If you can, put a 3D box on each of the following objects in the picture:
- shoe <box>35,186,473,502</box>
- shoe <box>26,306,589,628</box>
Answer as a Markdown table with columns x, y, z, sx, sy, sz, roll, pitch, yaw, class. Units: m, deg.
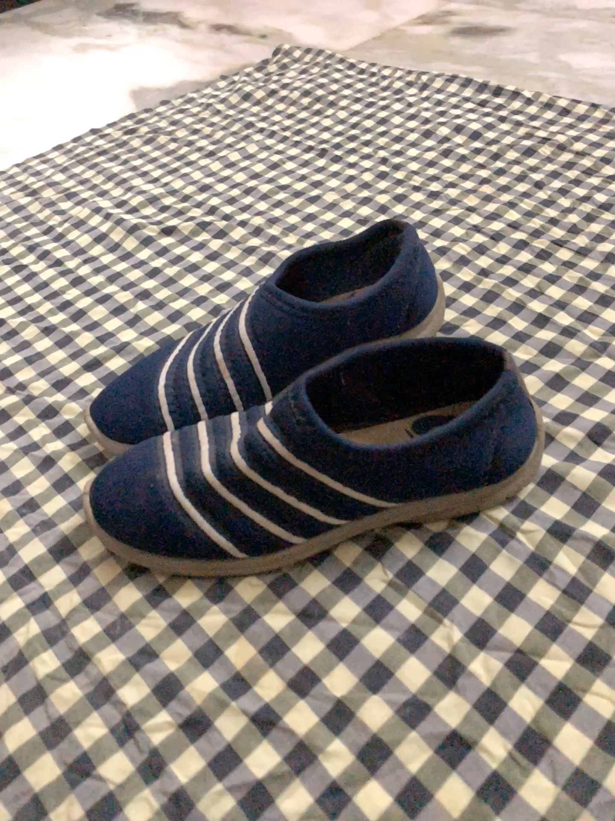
| x | y | z | sx | sy | sz | roll | pitch | yaw | class |
| --- | --- | --- | --- | --- | --- | --- | --- | --- | --- |
| -0.028 | -0.050 | 0.411 | 0.250 | 0.089 | 0.091 | -22 | 47 | -14 | shoe |
| 0.000 | 0.031 | 0.343 | 0.250 | 0.099 | 0.091 | -10 | 46 | -2 | shoe |
